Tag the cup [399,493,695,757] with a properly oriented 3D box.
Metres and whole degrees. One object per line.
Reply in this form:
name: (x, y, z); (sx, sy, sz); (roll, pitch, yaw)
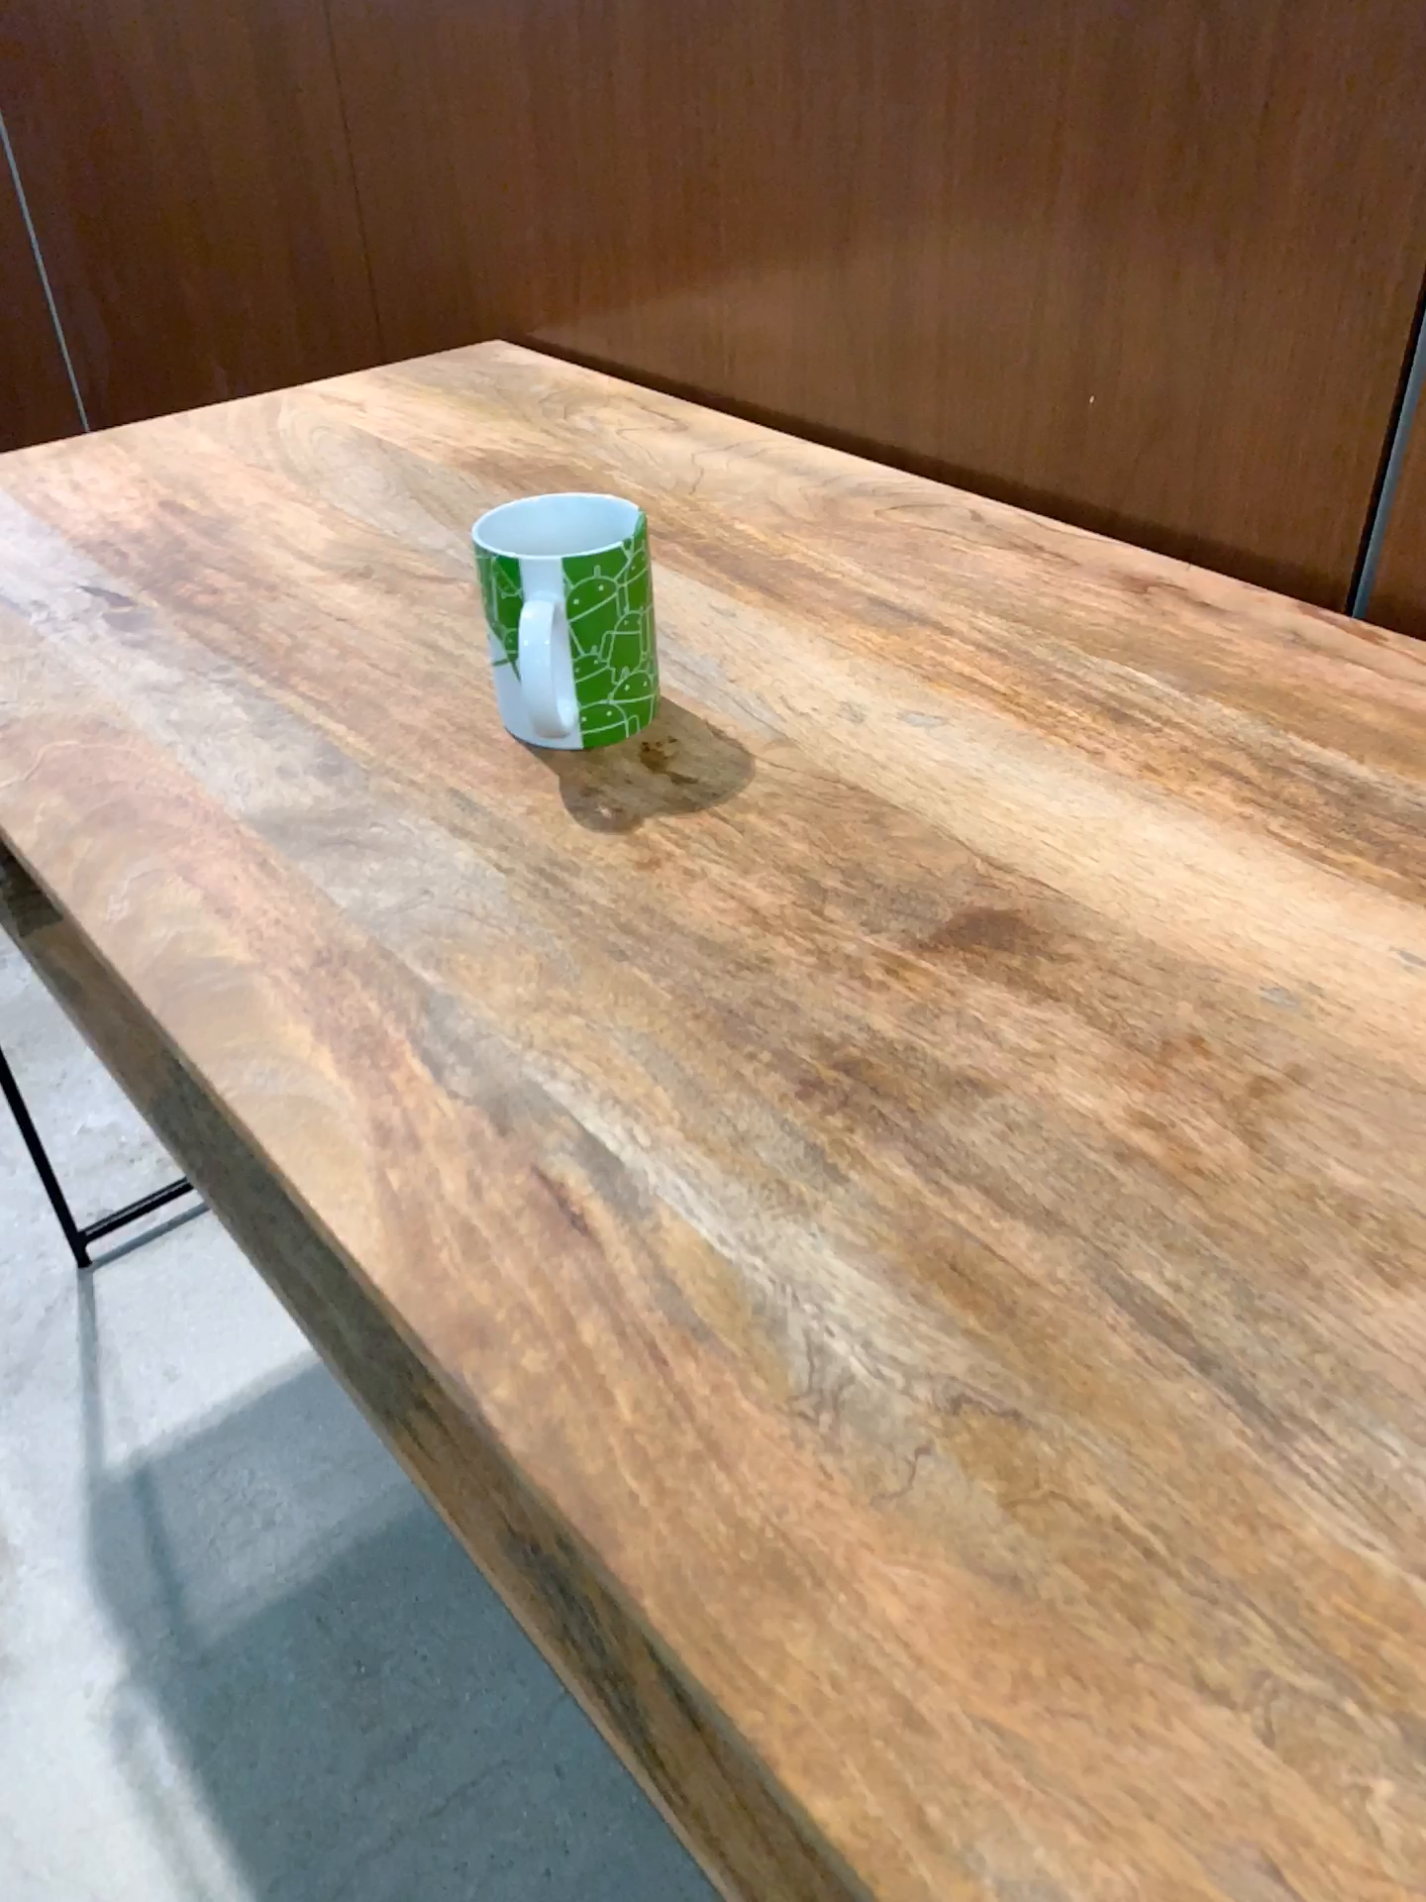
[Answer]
cup: (-0.068, -0.149, 0.650); (0.100, 0.070, 0.121); (4, 37, 8)
